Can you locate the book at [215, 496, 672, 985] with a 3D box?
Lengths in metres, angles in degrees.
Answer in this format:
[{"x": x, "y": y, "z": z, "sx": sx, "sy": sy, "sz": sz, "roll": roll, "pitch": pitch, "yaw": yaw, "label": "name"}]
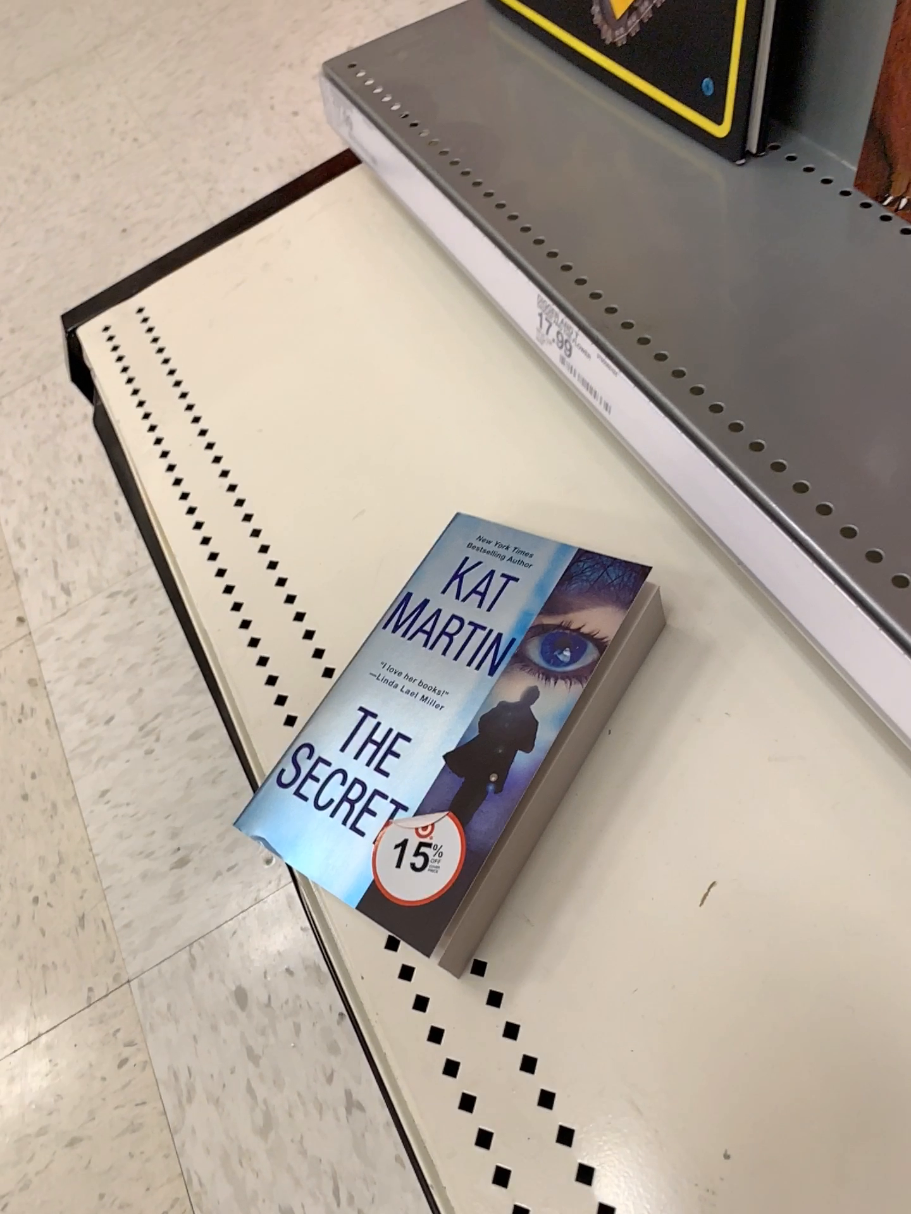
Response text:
[{"x": -0.002, "y": 0.044, "z": 0.375, "sx": 0.106, "sy": 0.040, "sz": 0.164, "roll": 22, "pitch": 69, "yaw": 32, "label": "book"}]
